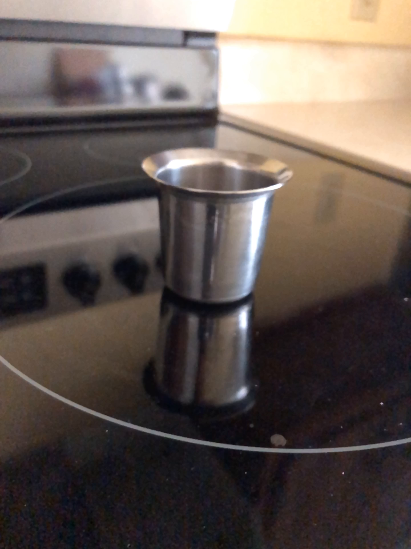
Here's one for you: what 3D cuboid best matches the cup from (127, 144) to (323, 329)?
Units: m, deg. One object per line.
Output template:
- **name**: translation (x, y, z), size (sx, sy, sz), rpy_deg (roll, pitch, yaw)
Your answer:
- **cup**: translation (0.002, -0.022, 0.212), size (0.066, 0.056, 0.073), rpy_deg (3, 27, -1)
